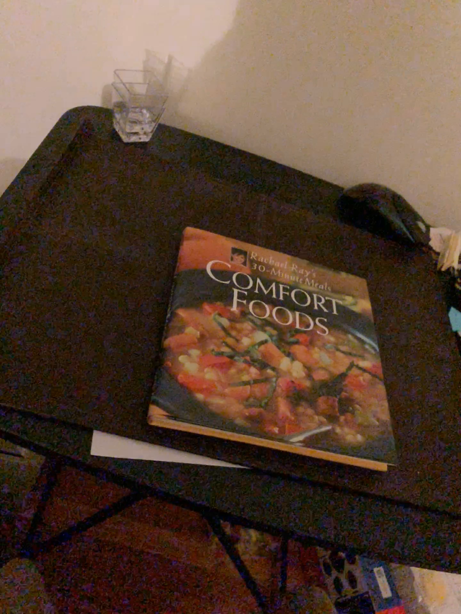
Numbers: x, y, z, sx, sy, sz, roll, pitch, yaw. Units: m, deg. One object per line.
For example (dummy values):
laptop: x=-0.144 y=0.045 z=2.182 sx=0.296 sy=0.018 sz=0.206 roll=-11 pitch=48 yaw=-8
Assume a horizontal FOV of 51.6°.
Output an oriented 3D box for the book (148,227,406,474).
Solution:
book: x=0.043 y=0.029 z=0.422 sx=0.200 sy=0.020 sz=0.201 roll=14 pitch=48 yaw=-13
